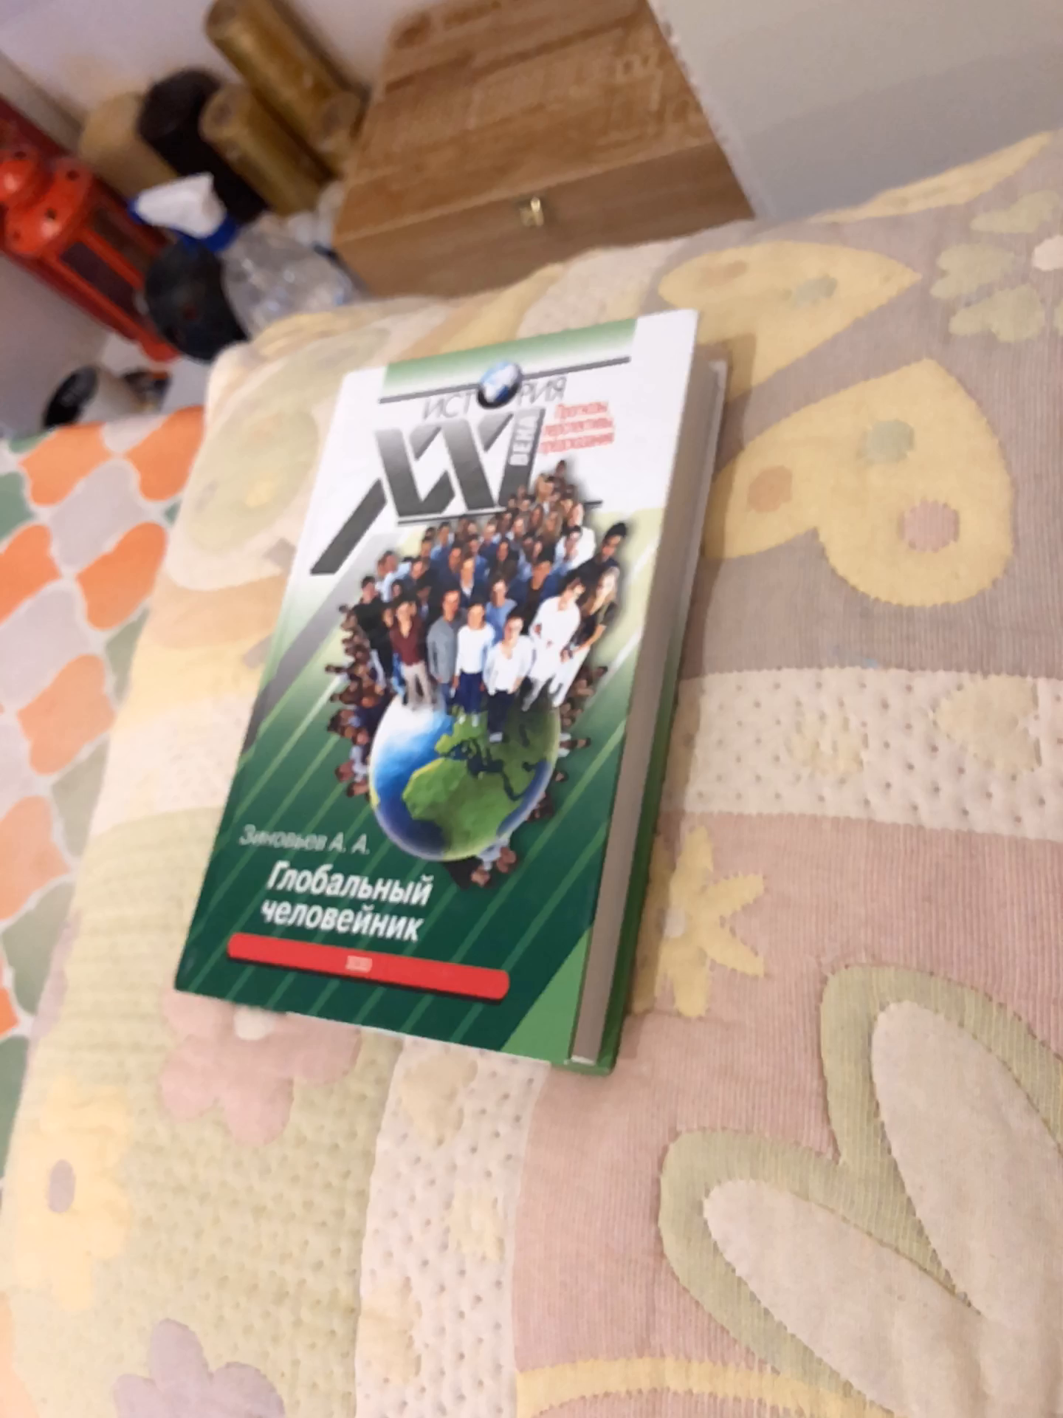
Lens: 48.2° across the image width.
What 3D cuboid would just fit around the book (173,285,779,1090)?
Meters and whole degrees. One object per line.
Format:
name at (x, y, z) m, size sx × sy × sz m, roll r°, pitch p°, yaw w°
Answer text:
book at (-0.013, -0.012, 0.339) m, size 0.134 × 0.036 × 0.207 m, roll 1°, pitch 69°, yaw 32°
